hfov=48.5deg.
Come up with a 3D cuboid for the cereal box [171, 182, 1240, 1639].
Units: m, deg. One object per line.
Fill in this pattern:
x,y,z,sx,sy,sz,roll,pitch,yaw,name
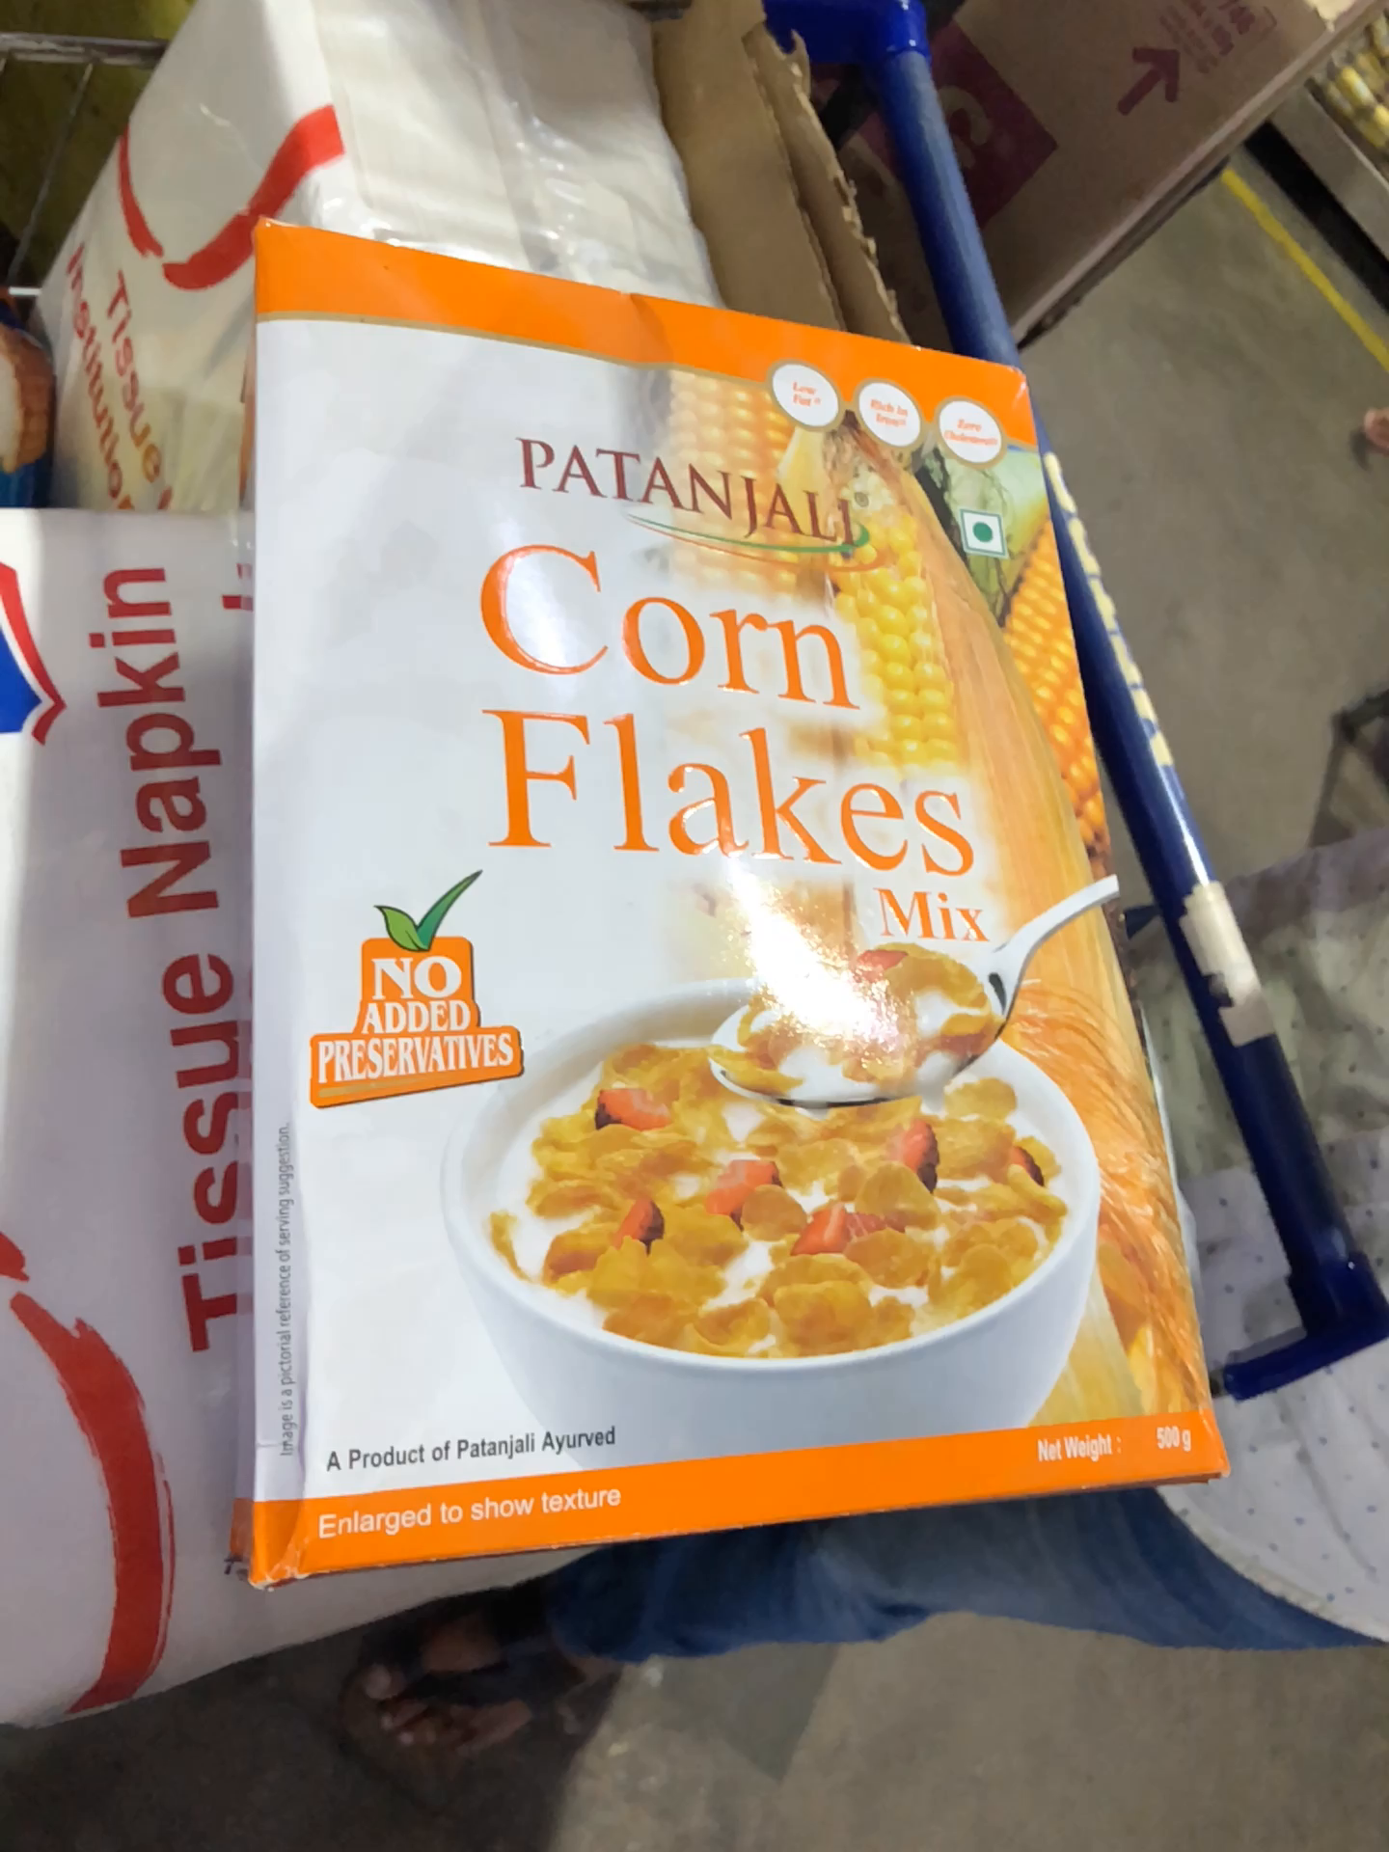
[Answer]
-0.009,-0.007,0.348,0.200,0.080,0.271,1,73,-23,cereal box
